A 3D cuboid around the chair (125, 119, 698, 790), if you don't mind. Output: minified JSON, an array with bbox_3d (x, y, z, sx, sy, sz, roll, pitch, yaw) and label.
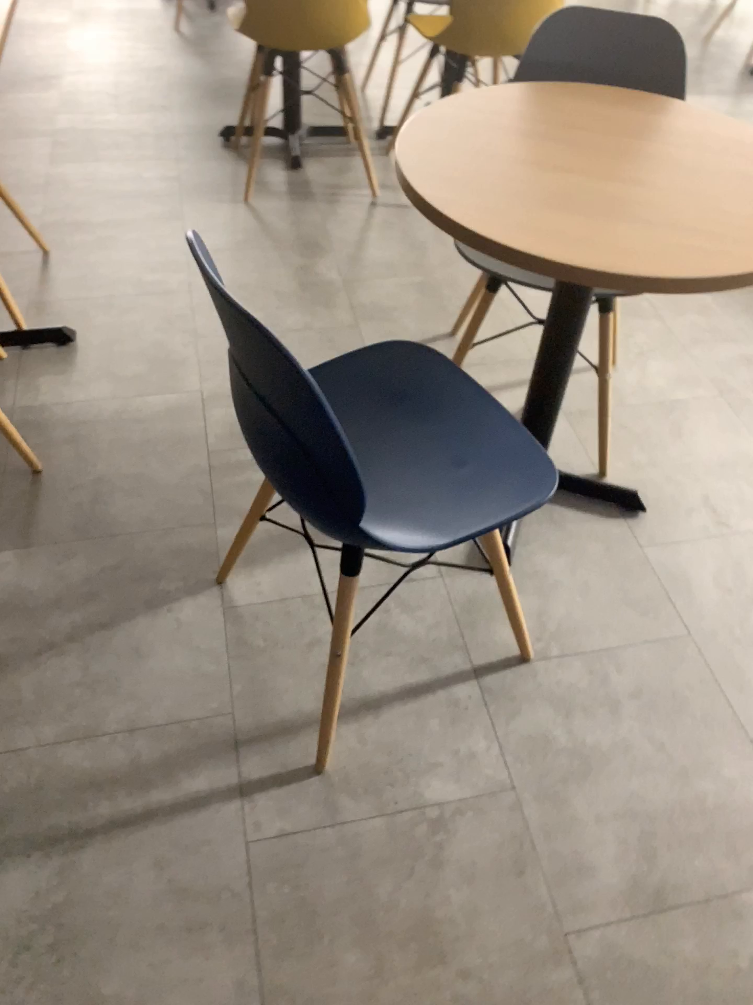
[{"bbox_3d":[0.003,-0.049,1.208,0.498,0.809,0.493,-21,52,-22],"label":"chair"}]
